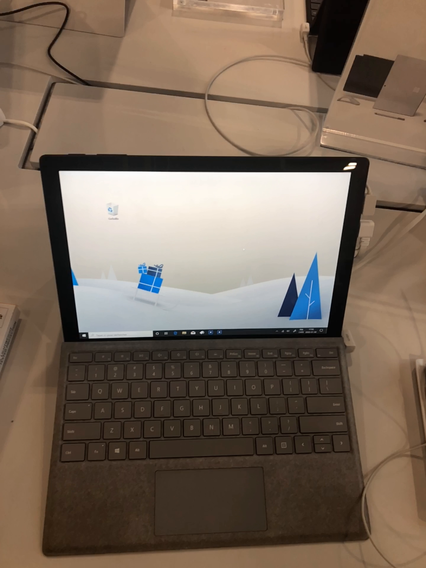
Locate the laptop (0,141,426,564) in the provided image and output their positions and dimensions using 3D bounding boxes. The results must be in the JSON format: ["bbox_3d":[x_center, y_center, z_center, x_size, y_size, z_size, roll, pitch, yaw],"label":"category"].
[{"bbox_3d":[-0.003,0.056,0.412,0.285,0.150,0.308,0,66,-5],"label":"laptop"}]
